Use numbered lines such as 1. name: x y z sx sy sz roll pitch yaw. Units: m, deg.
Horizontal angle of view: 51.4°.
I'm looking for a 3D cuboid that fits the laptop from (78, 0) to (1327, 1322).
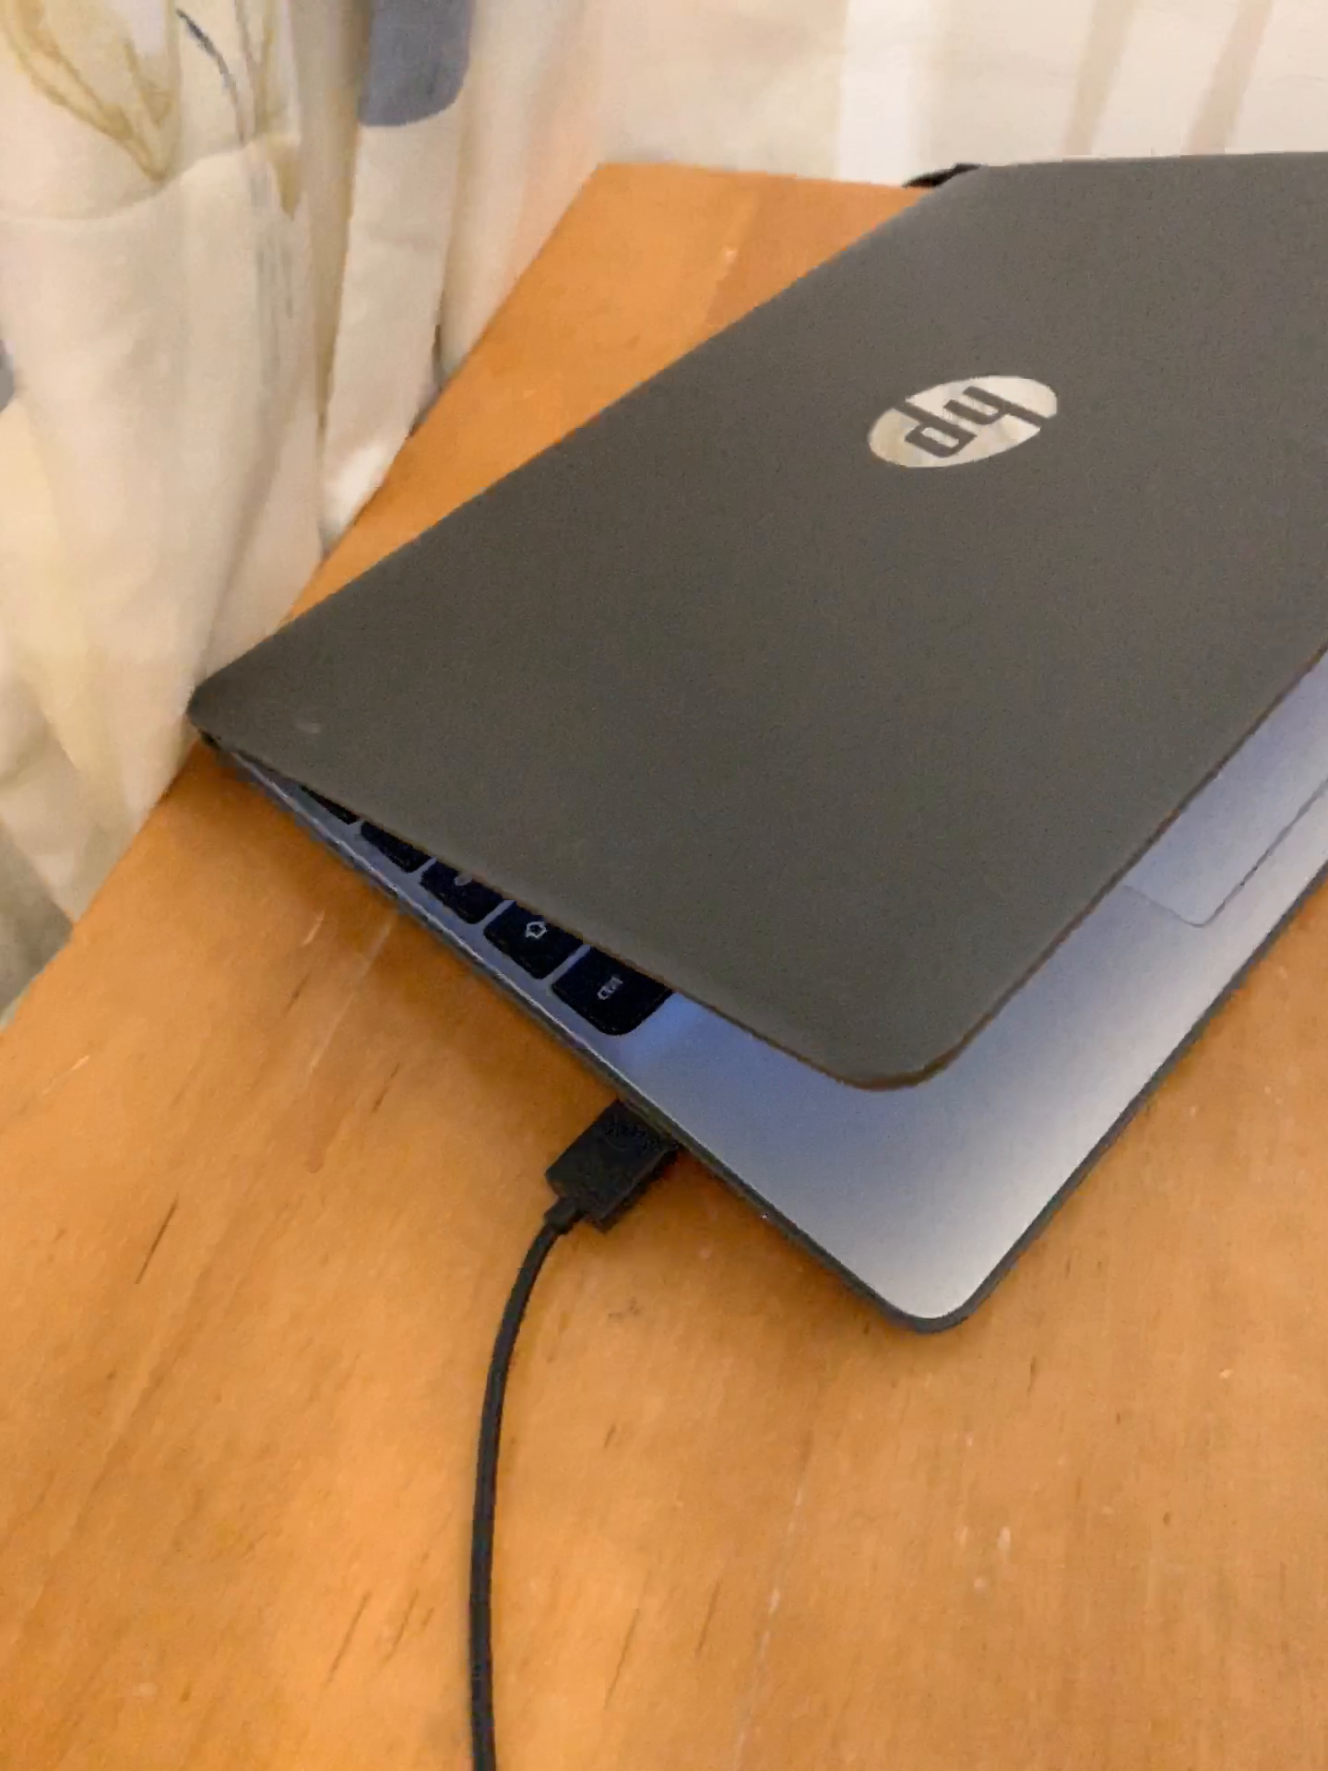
1. laptop: 0.063 -0.087 0.274 0.191 0.066 0.268 35 62 27
